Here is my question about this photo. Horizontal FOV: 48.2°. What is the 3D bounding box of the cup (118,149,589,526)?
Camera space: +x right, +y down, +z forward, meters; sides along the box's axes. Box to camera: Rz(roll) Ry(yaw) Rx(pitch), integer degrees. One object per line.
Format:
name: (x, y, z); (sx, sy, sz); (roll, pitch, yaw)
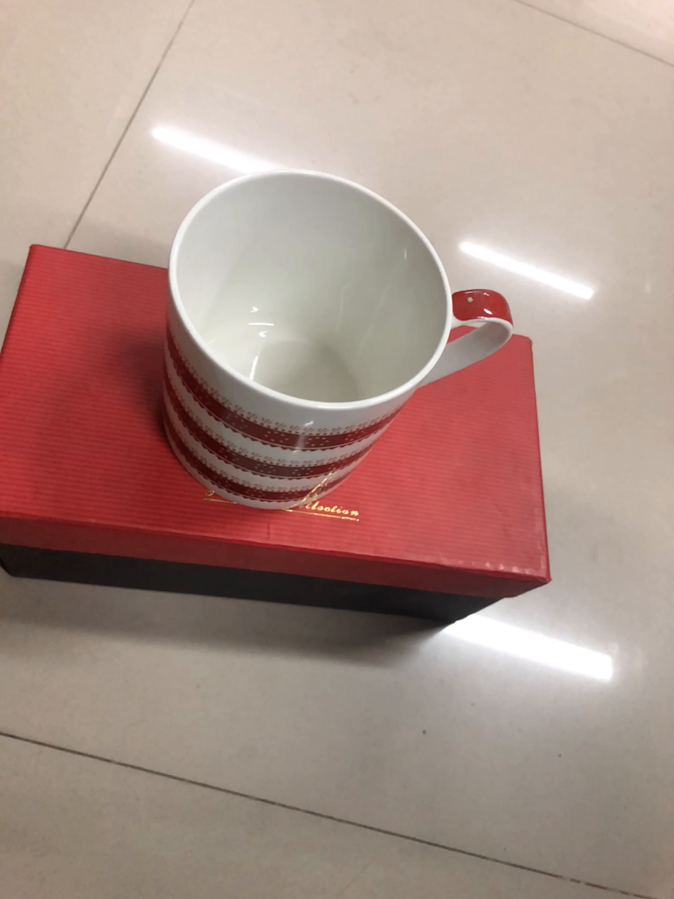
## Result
cup: (-0.006, -0.027, 0.260); (0.130, 0.100, 0.080); (2, 66, -15)
